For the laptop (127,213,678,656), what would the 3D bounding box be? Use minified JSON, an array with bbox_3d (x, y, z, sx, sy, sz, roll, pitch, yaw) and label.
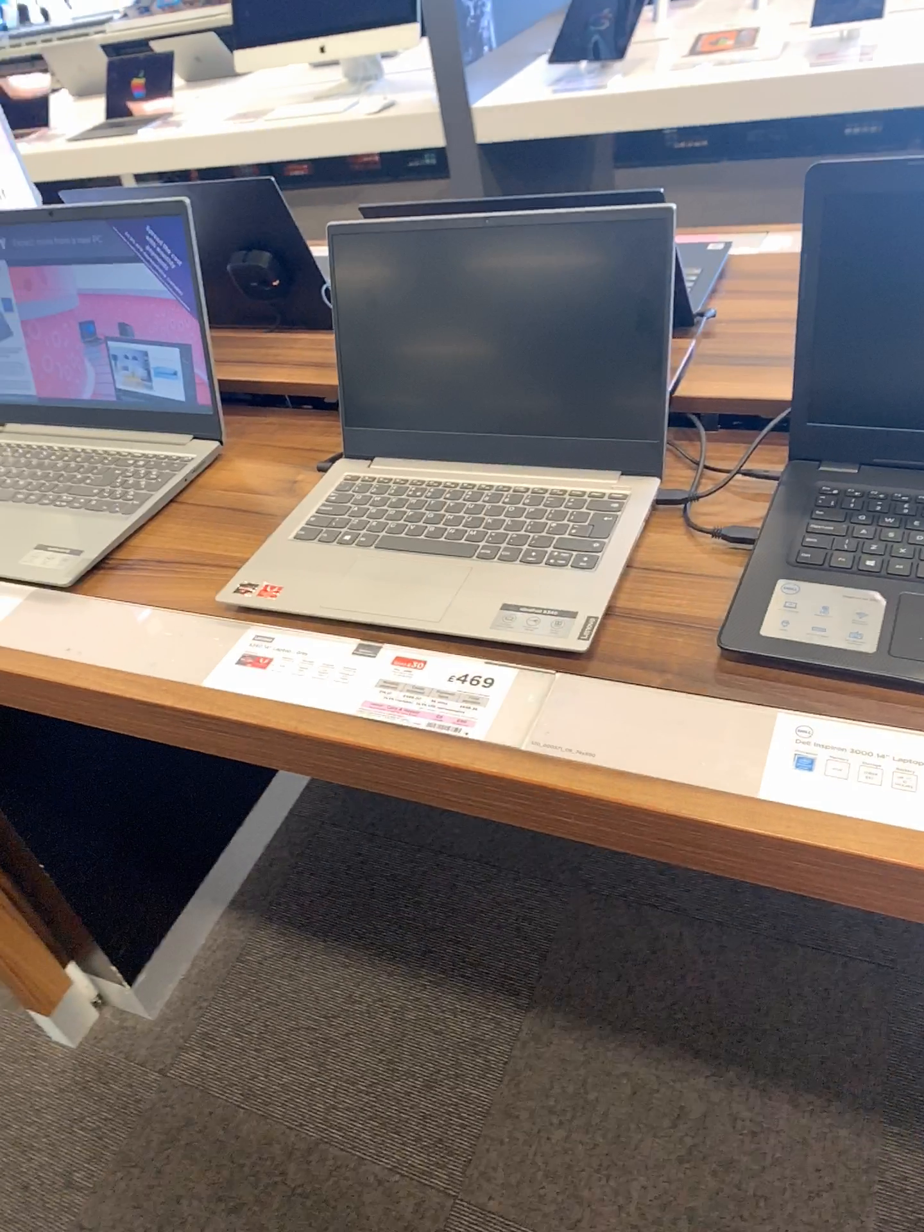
[{"bbox_3d":[-0.020,-0.163,0.759,0.316,0.199,0.296,8,42,24],"label":"laptop"}]
